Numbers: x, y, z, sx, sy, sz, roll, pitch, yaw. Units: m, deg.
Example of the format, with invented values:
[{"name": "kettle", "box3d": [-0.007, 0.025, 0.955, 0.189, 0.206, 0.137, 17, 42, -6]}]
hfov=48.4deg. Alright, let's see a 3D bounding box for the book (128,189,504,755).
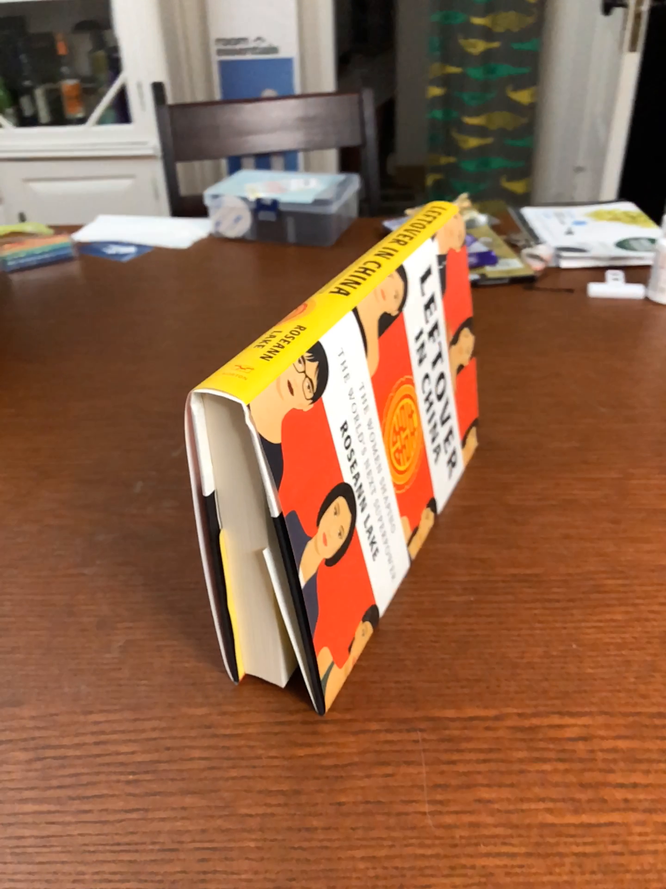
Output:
[{"name": "book", "box3d": [0.017, -0.008, 0.393, 0.060, 0.179, 0.261, 14, 36, 23]}]
